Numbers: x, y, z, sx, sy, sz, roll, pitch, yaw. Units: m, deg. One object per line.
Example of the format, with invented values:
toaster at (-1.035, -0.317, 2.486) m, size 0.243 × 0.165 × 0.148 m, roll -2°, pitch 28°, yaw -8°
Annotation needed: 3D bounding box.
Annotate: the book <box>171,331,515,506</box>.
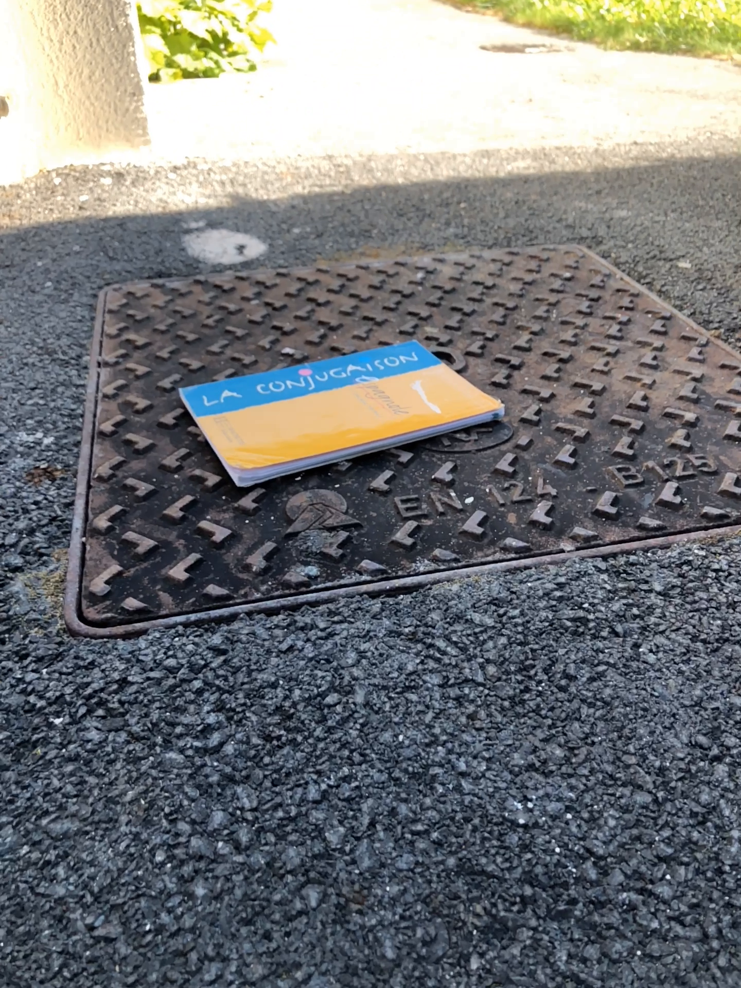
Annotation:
book at (-0.022, -0.060, 0.549) m, size 0.188 × 0.017 × 0.140 m, roll -16°, pitch 37°, yaw -21°
